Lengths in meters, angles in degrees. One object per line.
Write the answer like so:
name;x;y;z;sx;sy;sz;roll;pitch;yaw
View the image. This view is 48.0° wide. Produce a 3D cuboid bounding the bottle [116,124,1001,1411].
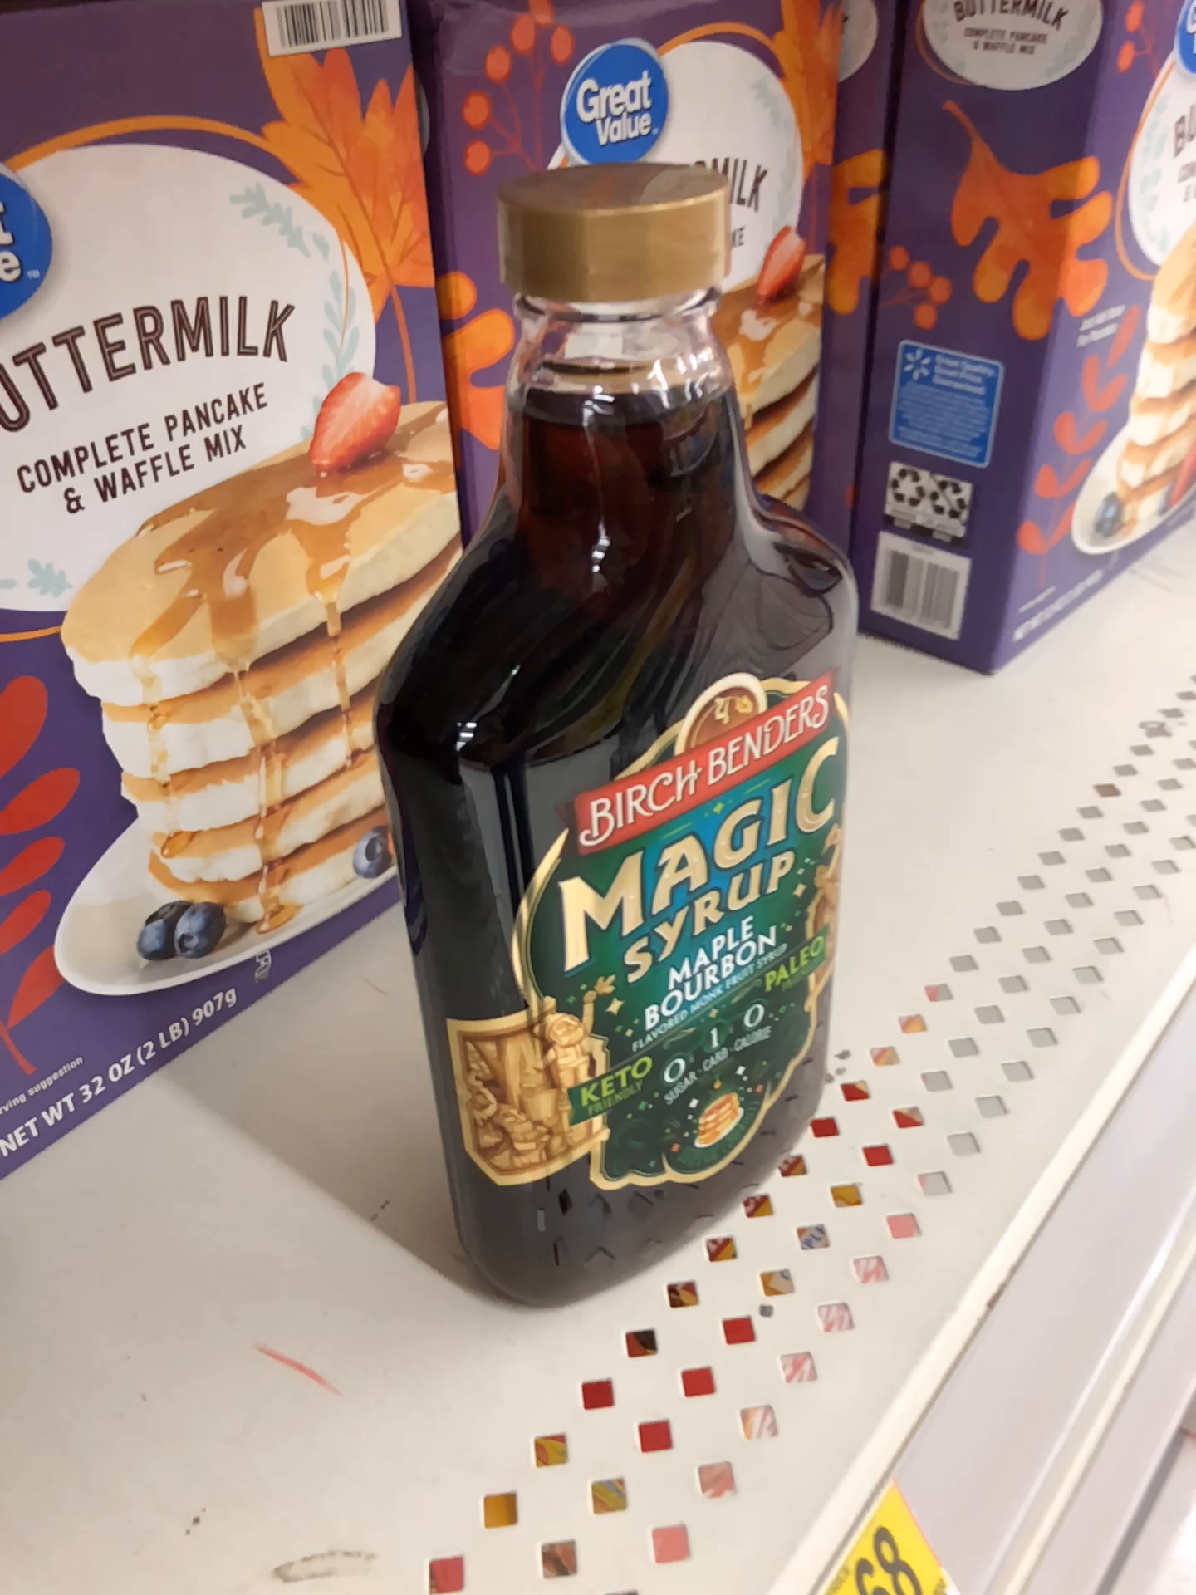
bottle;0.001;0.000;0.217;0.100;0.180;0.050;-27;42;-31
